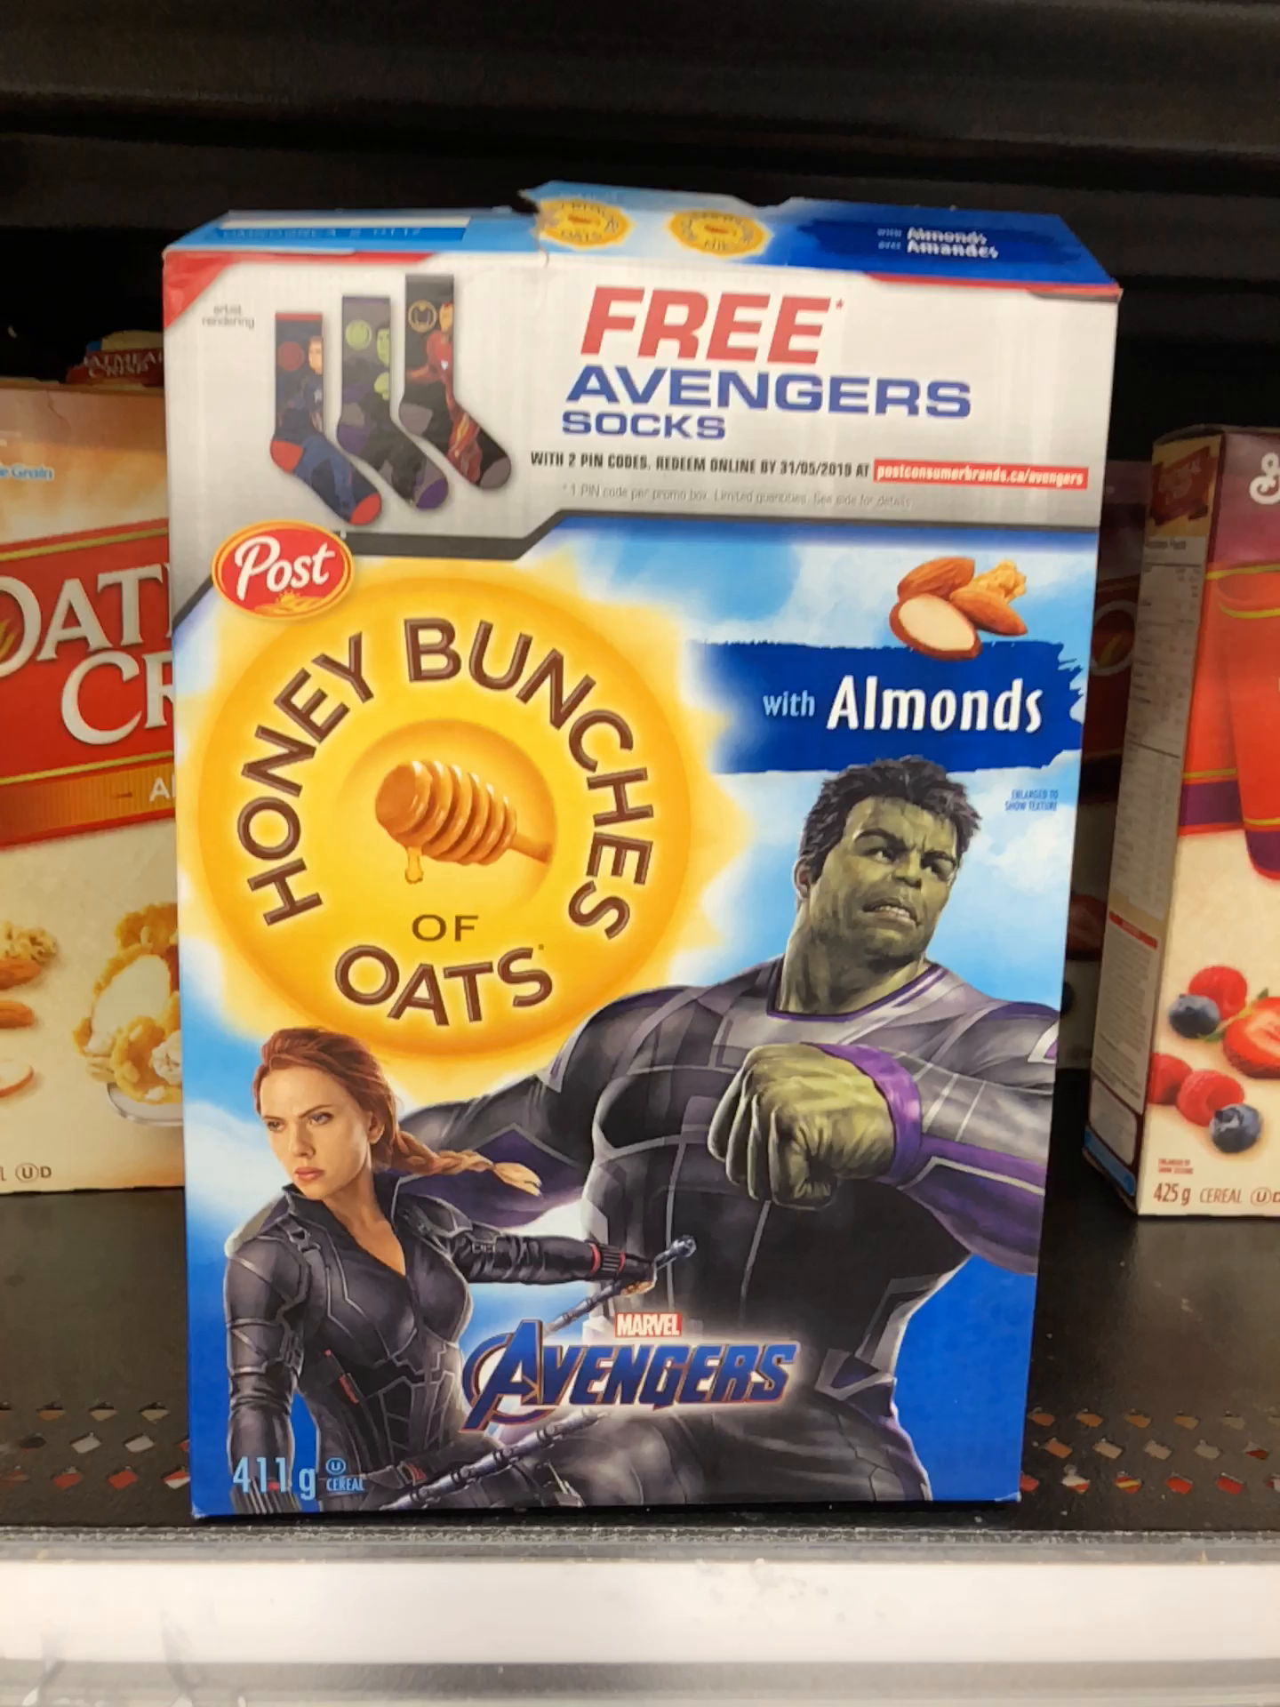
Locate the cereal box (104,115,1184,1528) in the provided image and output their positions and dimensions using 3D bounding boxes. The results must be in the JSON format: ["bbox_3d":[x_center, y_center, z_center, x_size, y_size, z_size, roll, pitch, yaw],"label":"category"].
[{"bbox_3d":[-0.004,0.002,0.326,0.200,0.289,0.070,1,12,-4],"label":"cereal box"}]
